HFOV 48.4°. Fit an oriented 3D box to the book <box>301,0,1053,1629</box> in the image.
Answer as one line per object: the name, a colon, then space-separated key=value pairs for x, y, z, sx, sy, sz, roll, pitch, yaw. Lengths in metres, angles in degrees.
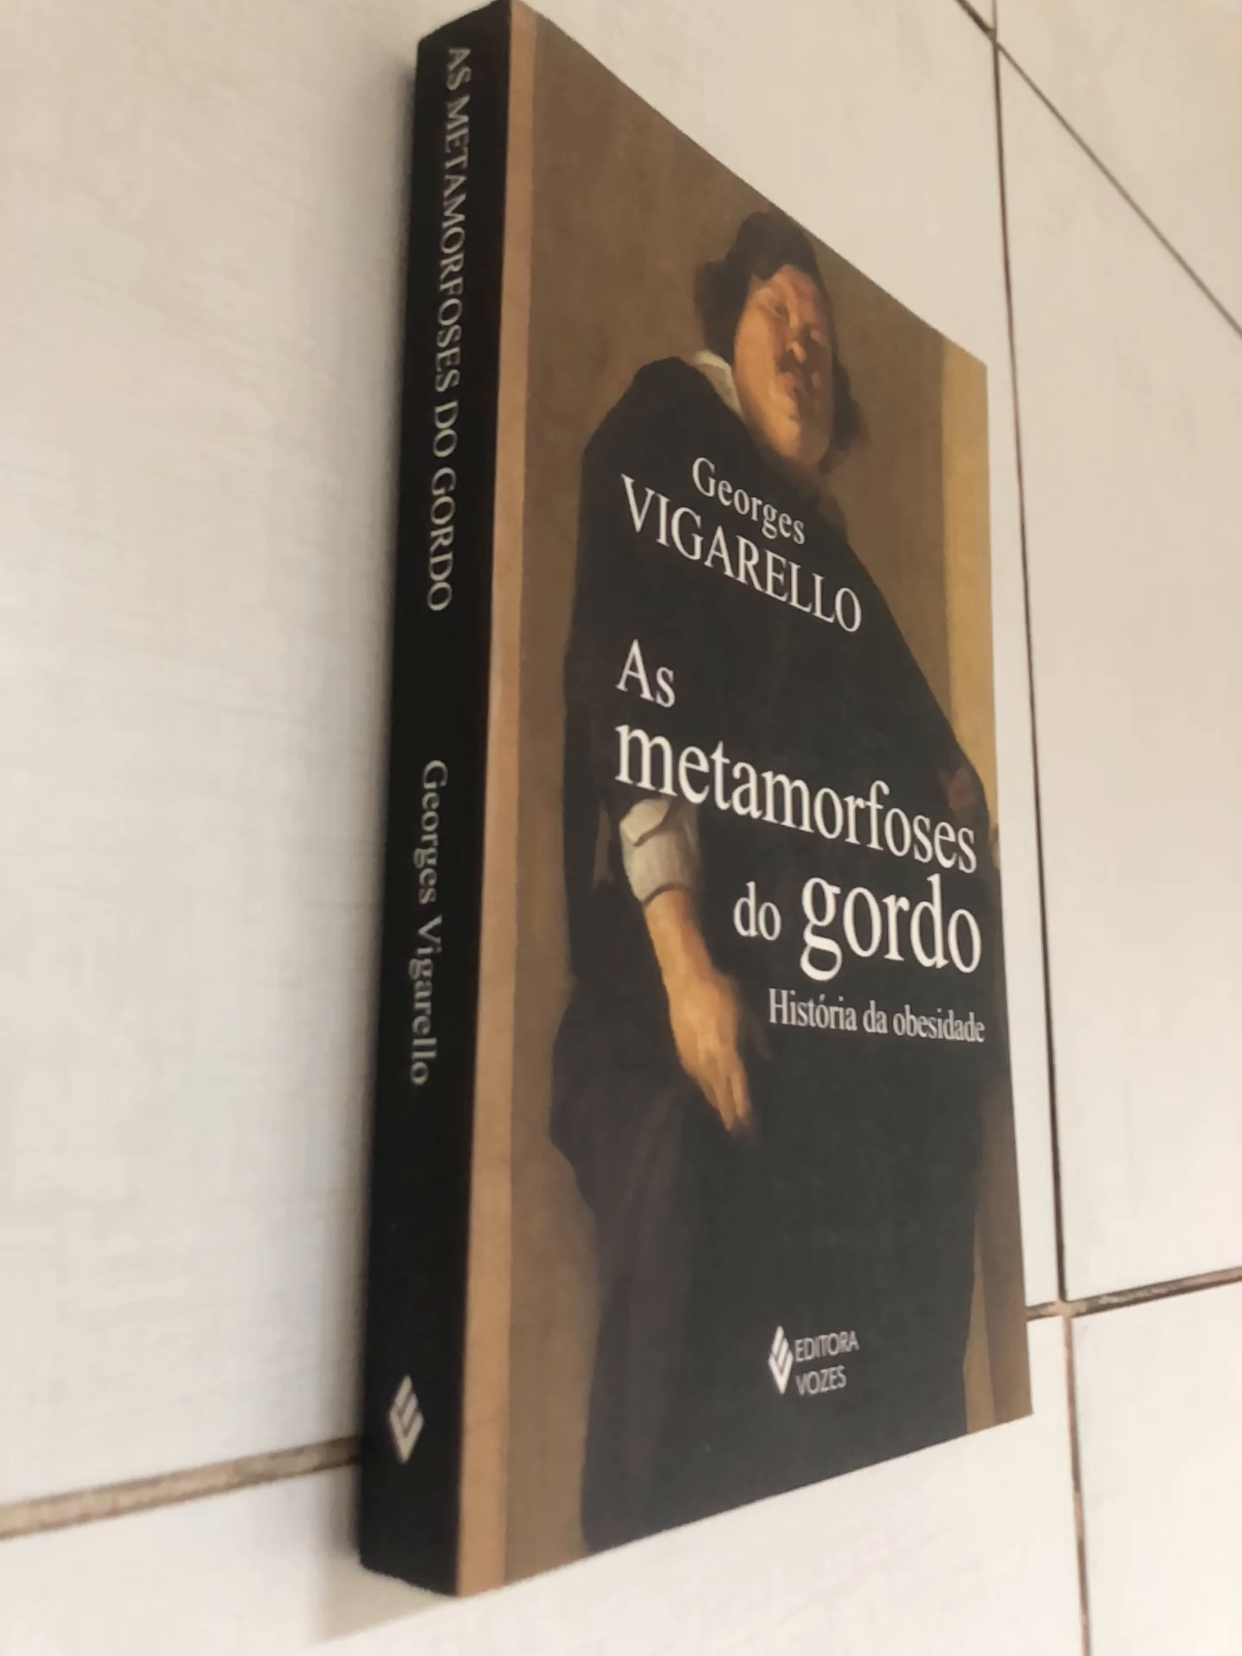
book: x=0.021 y=-0.006 z=0.218 sx=0.138 sy=0.023 sz=0.204 roll=12 pitch=75 yaw=-45
